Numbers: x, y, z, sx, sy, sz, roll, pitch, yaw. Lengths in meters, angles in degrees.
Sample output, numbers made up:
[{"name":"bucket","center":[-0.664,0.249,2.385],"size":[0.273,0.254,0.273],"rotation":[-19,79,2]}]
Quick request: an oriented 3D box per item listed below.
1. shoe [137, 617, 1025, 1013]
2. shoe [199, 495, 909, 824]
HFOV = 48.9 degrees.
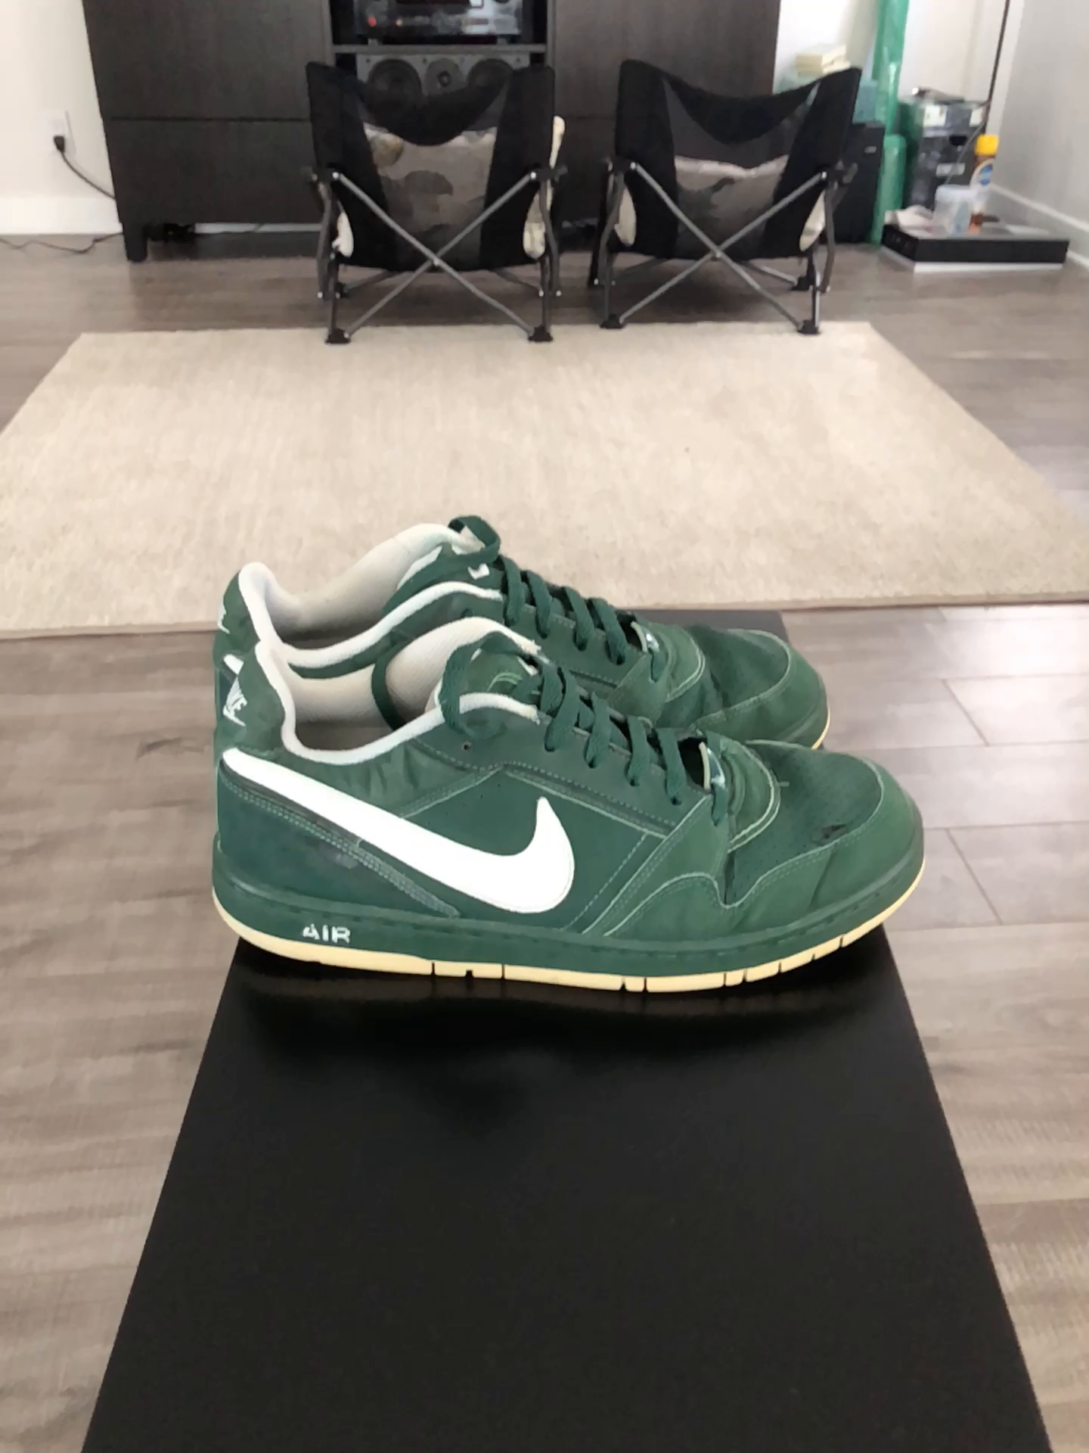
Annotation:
[{"name":"shoe","center":[0.010,0.033,0.462],"size":[0.292,0.100,0.100],"rotation":[2,33,-3]},{"name":"shoe","center":[0.001,-0.031,0.544],"size":[0.280,0.100,0.110],"rotation":[1,33,-5]}]
